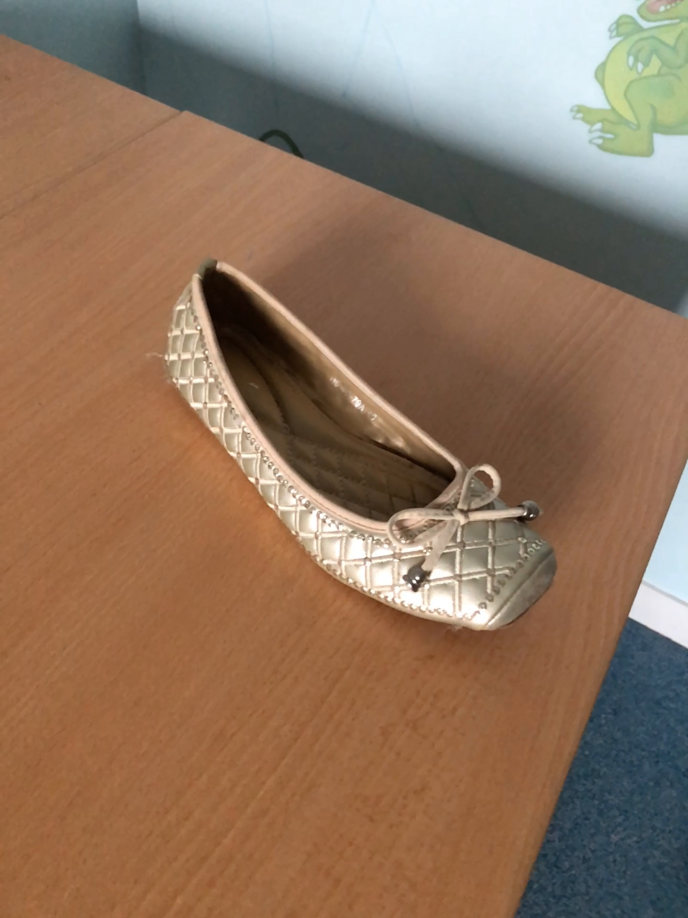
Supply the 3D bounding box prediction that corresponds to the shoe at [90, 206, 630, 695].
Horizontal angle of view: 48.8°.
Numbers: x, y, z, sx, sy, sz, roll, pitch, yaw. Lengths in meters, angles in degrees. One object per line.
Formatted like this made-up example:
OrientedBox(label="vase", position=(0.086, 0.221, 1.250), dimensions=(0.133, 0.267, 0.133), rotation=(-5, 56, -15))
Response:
OrientedBox(label="shoe", position=(-0.005, -0.019, 0.391), dimensions=(0.260, 0.080, 0.101), rotation=(39, 56, 22))
